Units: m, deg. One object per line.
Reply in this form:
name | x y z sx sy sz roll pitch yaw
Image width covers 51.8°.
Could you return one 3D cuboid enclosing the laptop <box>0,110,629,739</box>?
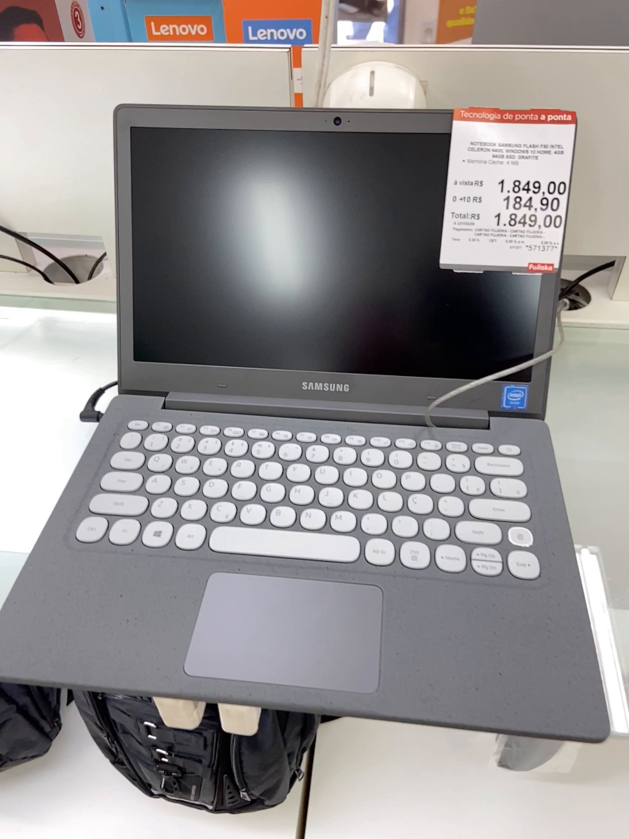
laptop | -0.002 -0.037 0.390 0.324 0.172 0.342 3 43 7
